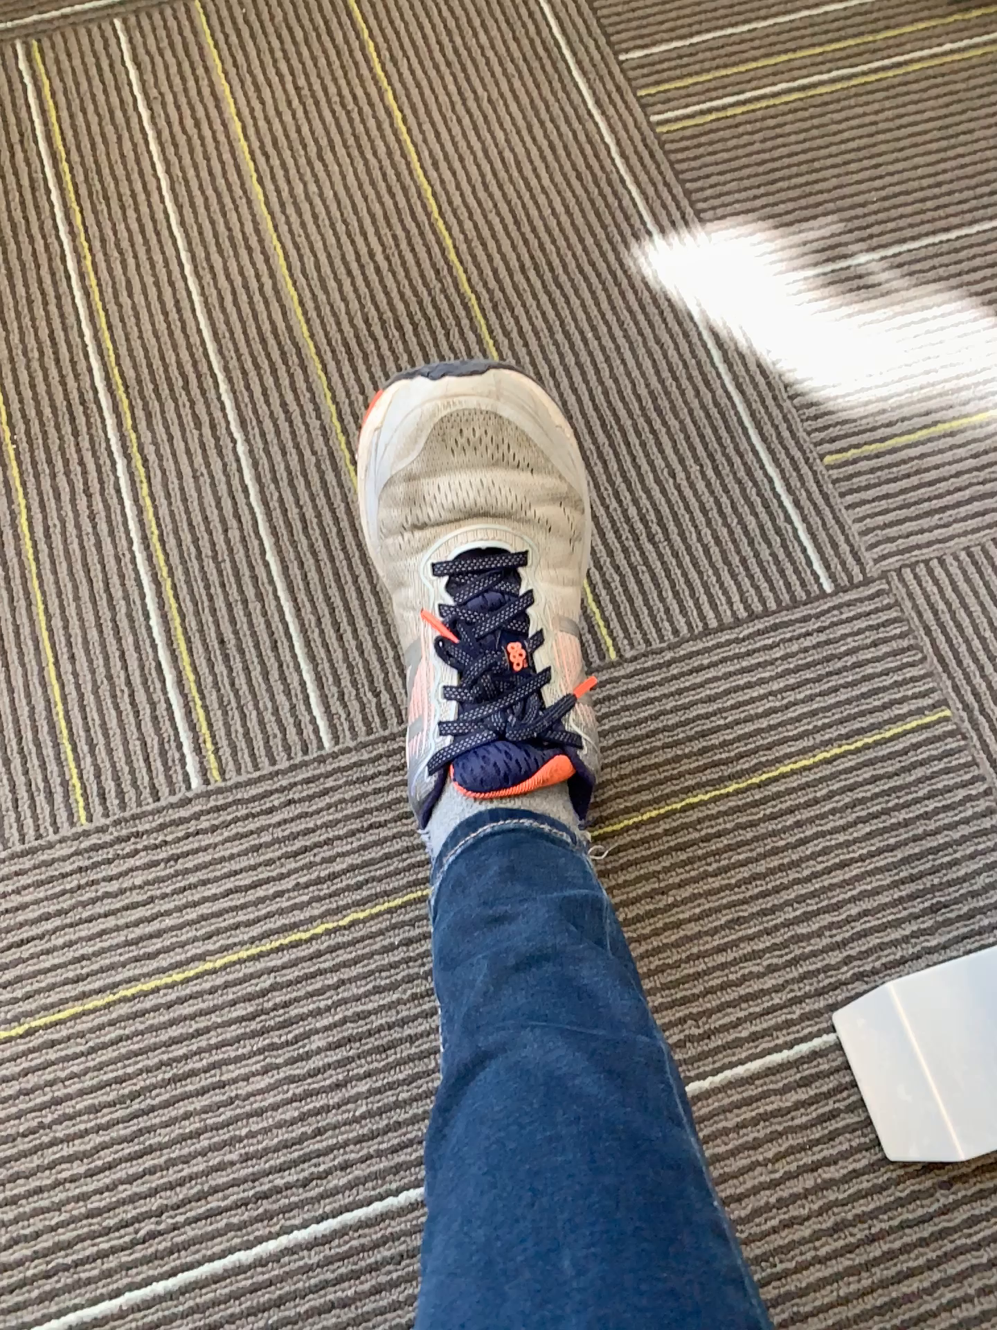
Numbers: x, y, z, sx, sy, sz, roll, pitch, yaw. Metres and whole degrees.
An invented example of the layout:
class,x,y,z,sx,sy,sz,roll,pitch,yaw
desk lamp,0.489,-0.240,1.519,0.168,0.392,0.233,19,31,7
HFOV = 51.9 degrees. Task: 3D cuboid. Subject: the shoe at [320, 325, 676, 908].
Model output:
class,x,y,z,sx,sy,sz,roll,pitch,yaw
shoe,0.002,-0.027,0.466,0.120,0.110,0.230,-7,108,-3
